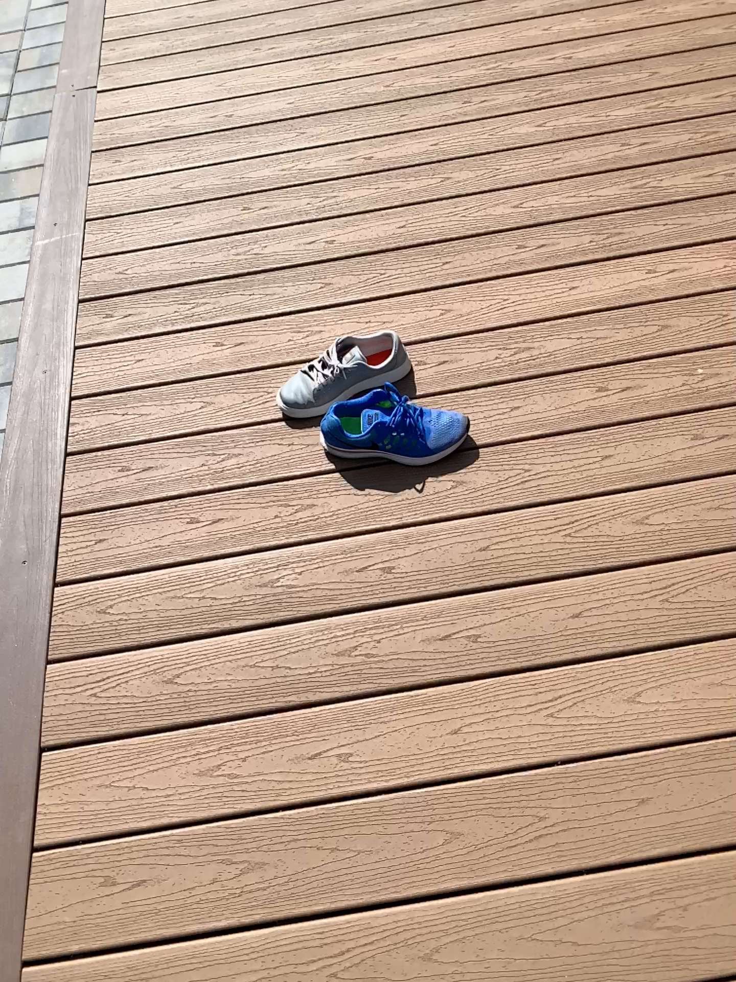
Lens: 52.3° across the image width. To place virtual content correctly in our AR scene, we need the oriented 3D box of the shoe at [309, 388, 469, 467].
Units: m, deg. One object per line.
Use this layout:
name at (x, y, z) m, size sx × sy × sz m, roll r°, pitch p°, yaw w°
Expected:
shoe at (0.043, -0.115, 1.372) m, size 0.280 × 0.090 × 0.110 m, roll 1°, pitch 58°, yaw 7°

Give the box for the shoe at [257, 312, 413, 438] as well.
shoe at (-0.062, -0.231, 1.499) m, size 0.280 × 0.110 × 0.110 m, roll -24°, pitch 58°, yaw -9°
